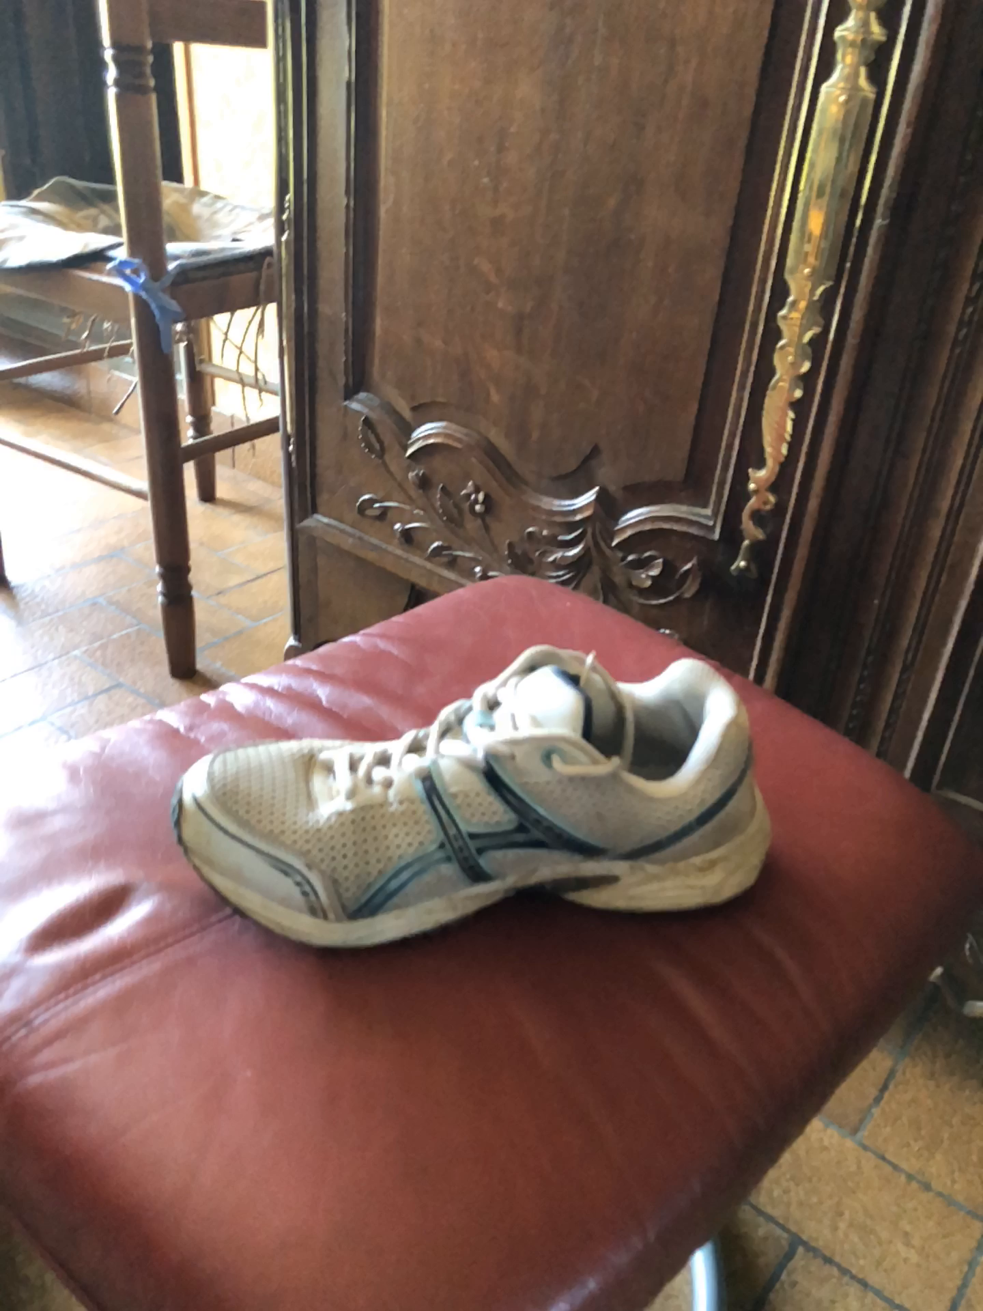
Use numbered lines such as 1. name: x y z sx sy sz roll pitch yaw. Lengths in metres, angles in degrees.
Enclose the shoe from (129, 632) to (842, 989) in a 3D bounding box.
1. shoe: -0.007 0.058 0.469 0.270 0.080 0.121 -2 30 -11
